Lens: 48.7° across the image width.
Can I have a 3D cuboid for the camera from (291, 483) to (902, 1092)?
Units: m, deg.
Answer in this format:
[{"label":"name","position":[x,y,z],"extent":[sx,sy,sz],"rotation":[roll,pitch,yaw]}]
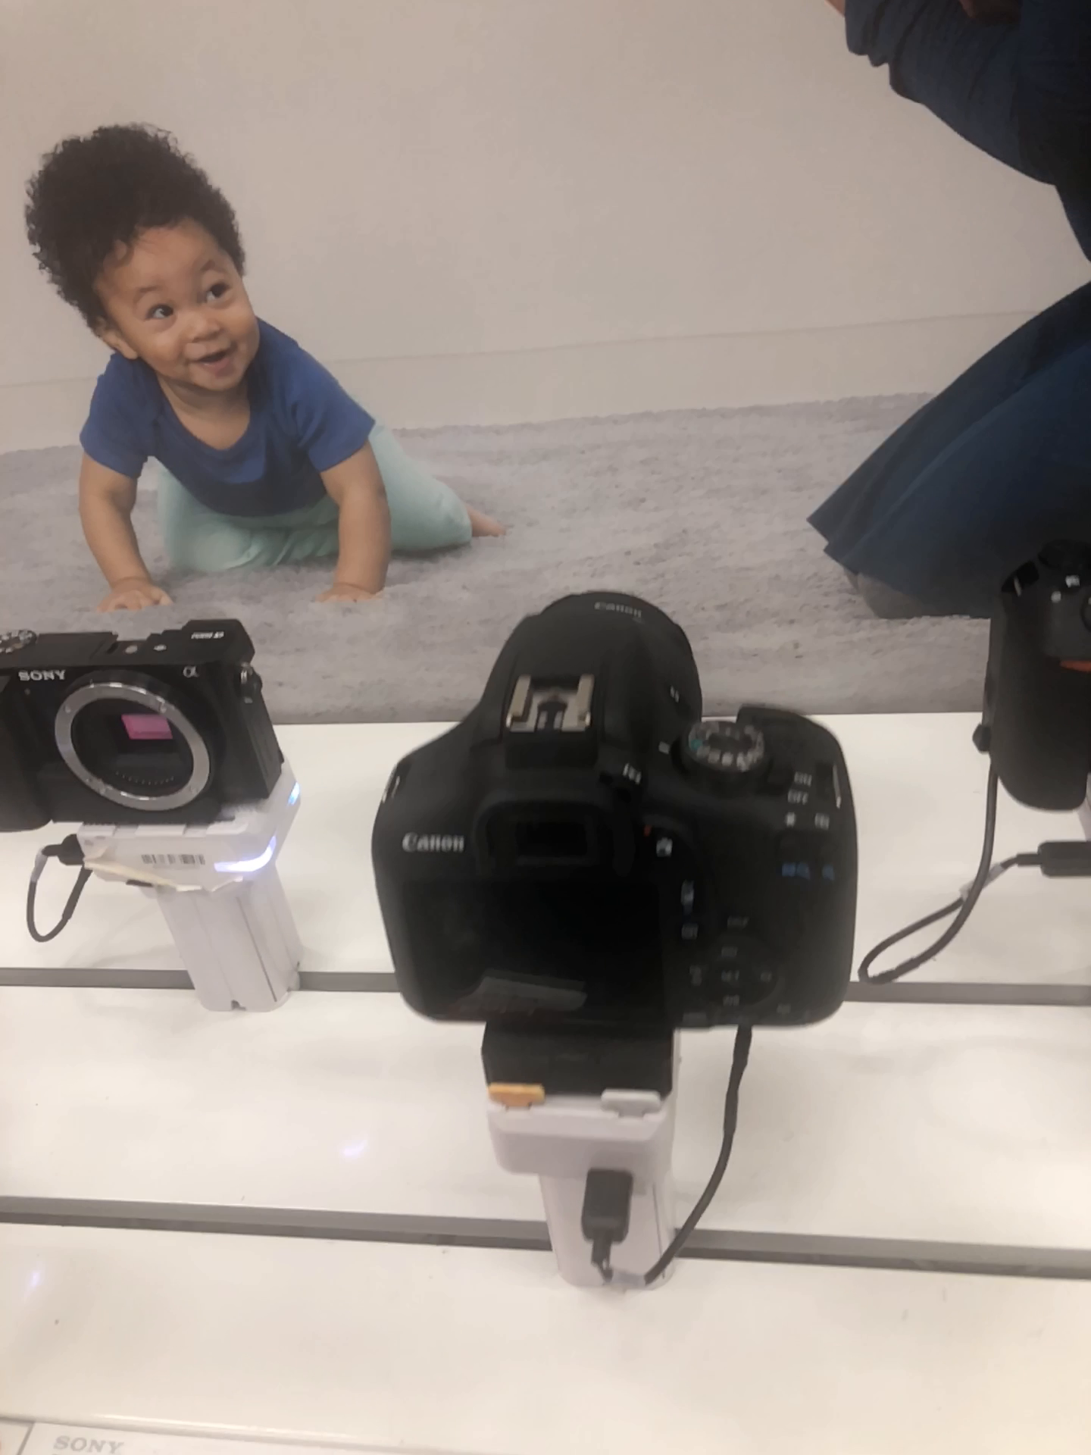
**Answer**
[{"label":"camera","position":[0.024,0.008,0.368],"extent":[0.140,0.090,0.171],"rotation":[0,38,10]}]
